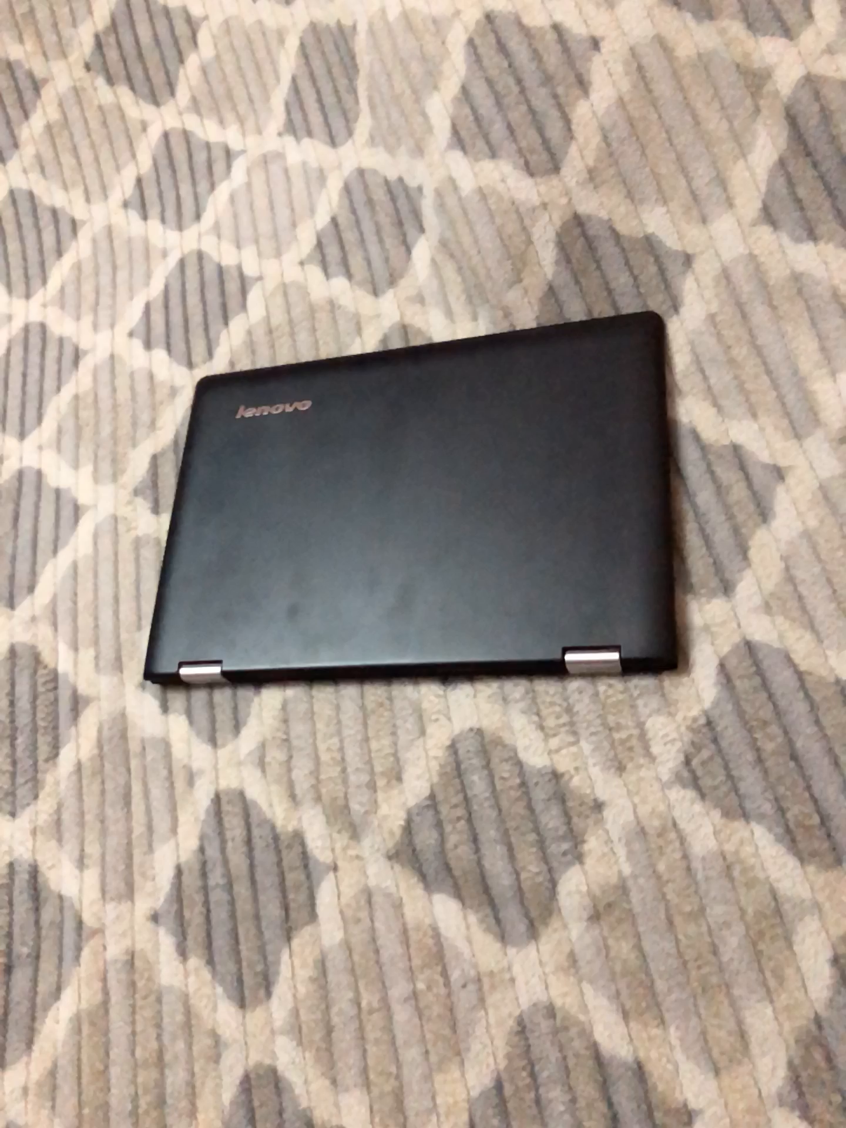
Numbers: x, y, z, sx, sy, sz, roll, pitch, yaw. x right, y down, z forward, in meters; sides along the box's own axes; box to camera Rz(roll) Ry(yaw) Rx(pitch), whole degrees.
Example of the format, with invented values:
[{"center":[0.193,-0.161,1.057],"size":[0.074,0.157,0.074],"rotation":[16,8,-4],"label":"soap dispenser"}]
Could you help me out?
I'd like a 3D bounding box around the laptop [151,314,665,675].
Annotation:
[{"center":[-0.016,-0.044,0.626],"size":[0.339,0.005,0.231],"rotation":[-4,67,18],"label":"laptop"}]
